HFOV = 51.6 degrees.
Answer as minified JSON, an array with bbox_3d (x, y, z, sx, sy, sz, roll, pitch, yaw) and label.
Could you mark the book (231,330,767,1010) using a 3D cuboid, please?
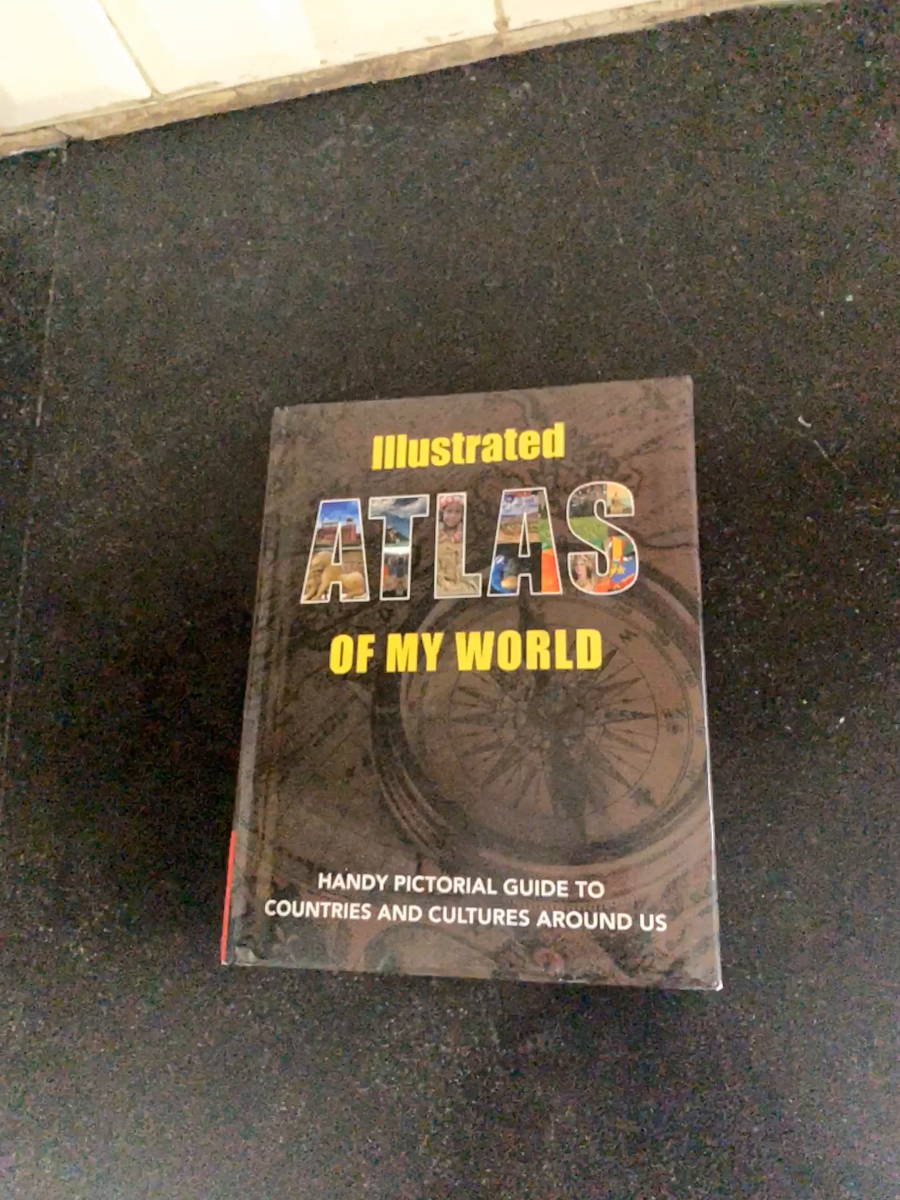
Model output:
[{"bbox_3d":[0.019,0.022,0.401,0.200,0.040,0.271,-2,73,12],"label":"book"}]
